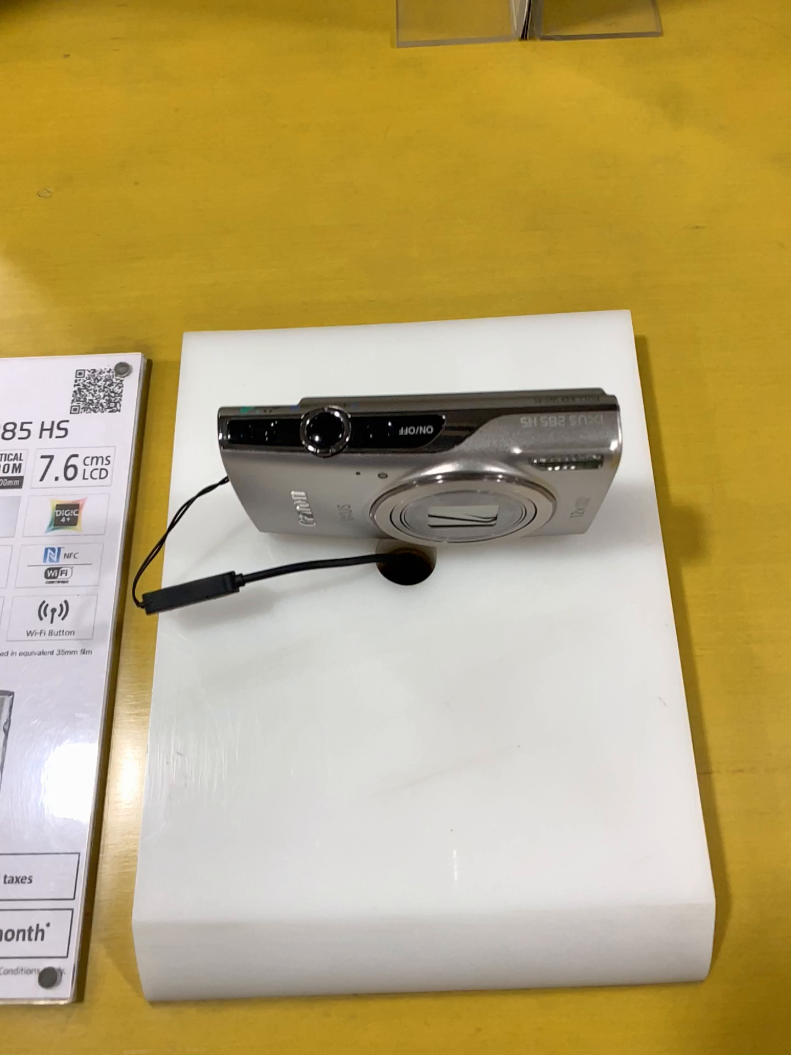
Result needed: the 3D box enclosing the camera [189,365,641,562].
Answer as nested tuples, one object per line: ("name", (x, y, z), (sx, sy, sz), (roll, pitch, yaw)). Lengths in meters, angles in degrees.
("camera", (0.005, -0.014, 0.209), (0.100, 0.050, 0.030), (-1, 69, 3))
